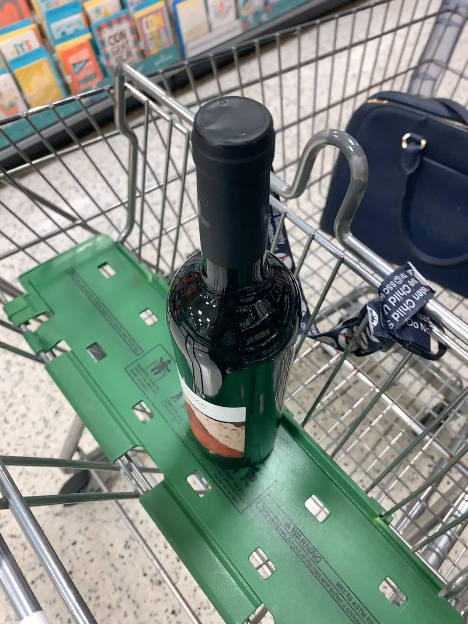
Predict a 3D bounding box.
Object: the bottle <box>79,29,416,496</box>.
[{"bbox_3d":[0.003,0.016,0.286,0.080,0.298,0.080,0,57,0],"label":"bottle"}]
